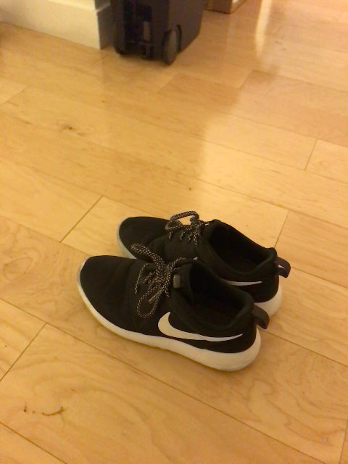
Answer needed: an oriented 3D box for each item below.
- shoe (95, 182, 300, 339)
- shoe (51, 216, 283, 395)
[{"bbox_3d":[0.030,0.035,0.573,0.270,0.089,0.111,23,51,16],"label":"shoe"},{"bbox_3d":[-0.010,0.090,0.509,0.270,0.089,0.111,21,50,15],"label":"shoe"}]
